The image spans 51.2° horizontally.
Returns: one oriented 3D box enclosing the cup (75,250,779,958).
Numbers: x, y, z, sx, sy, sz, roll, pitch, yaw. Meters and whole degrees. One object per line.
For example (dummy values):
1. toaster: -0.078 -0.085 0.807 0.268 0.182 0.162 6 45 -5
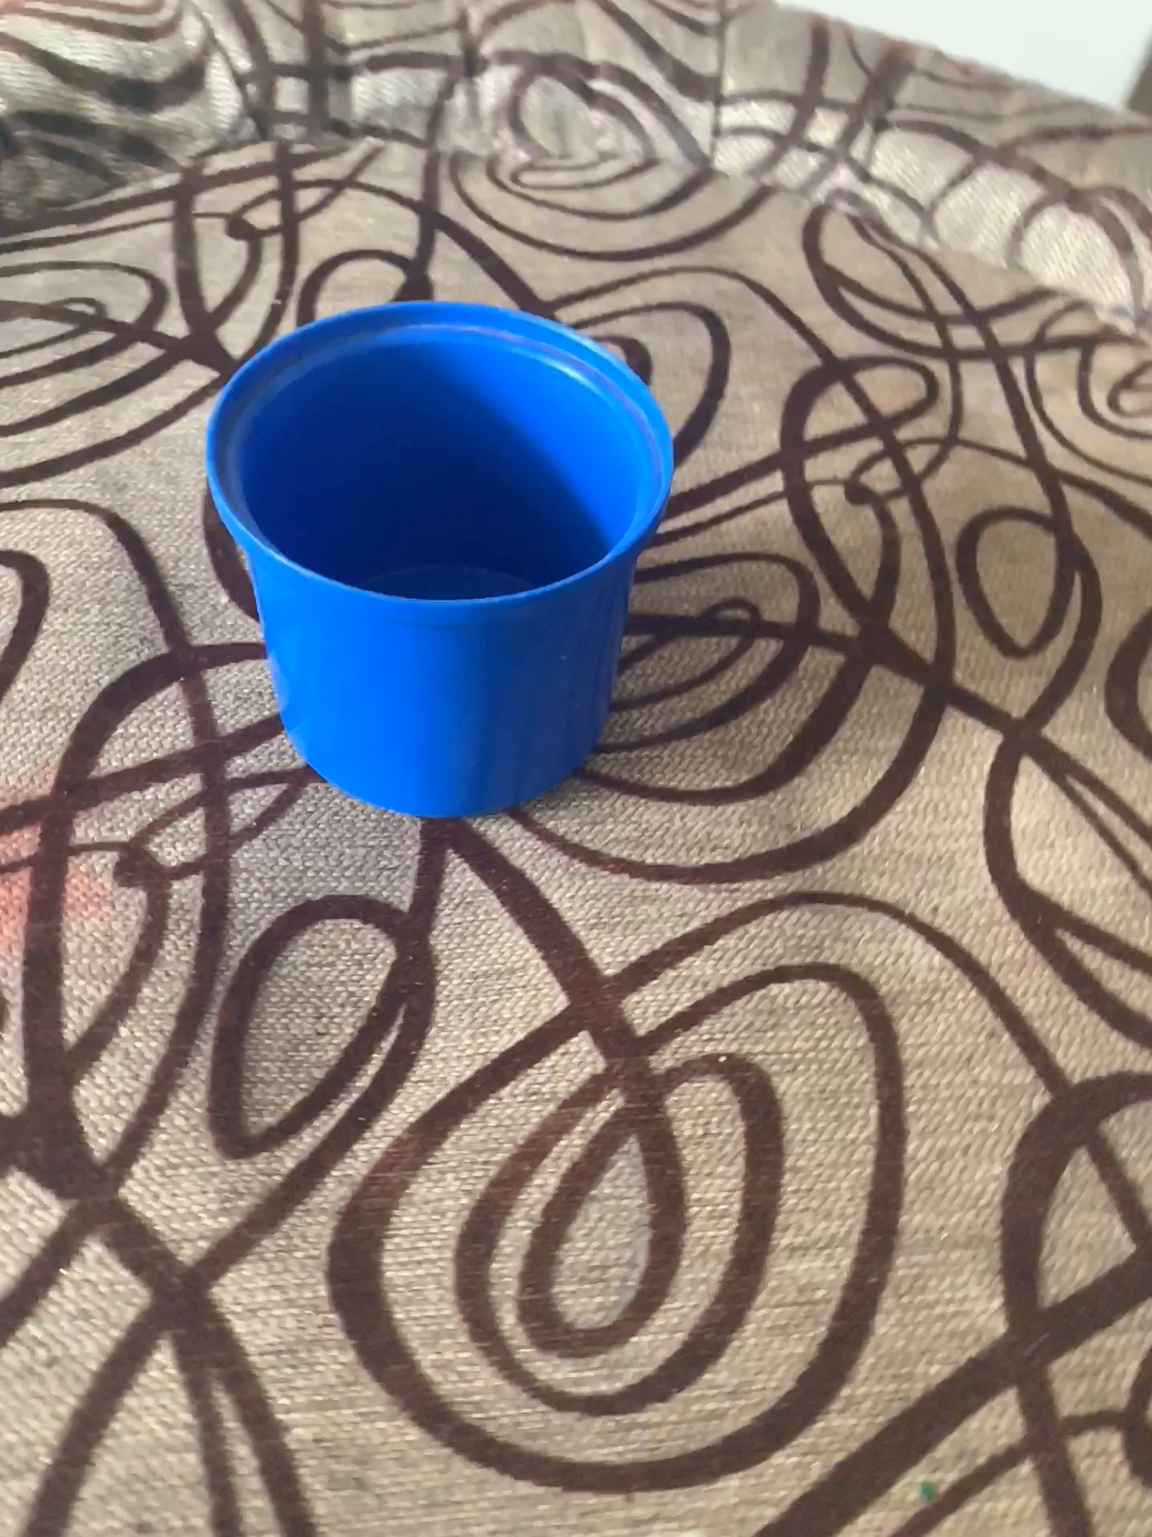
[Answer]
1. cup: -0.026 -0.032 0.222 0.080 0.070 0.080 3 53 -4
